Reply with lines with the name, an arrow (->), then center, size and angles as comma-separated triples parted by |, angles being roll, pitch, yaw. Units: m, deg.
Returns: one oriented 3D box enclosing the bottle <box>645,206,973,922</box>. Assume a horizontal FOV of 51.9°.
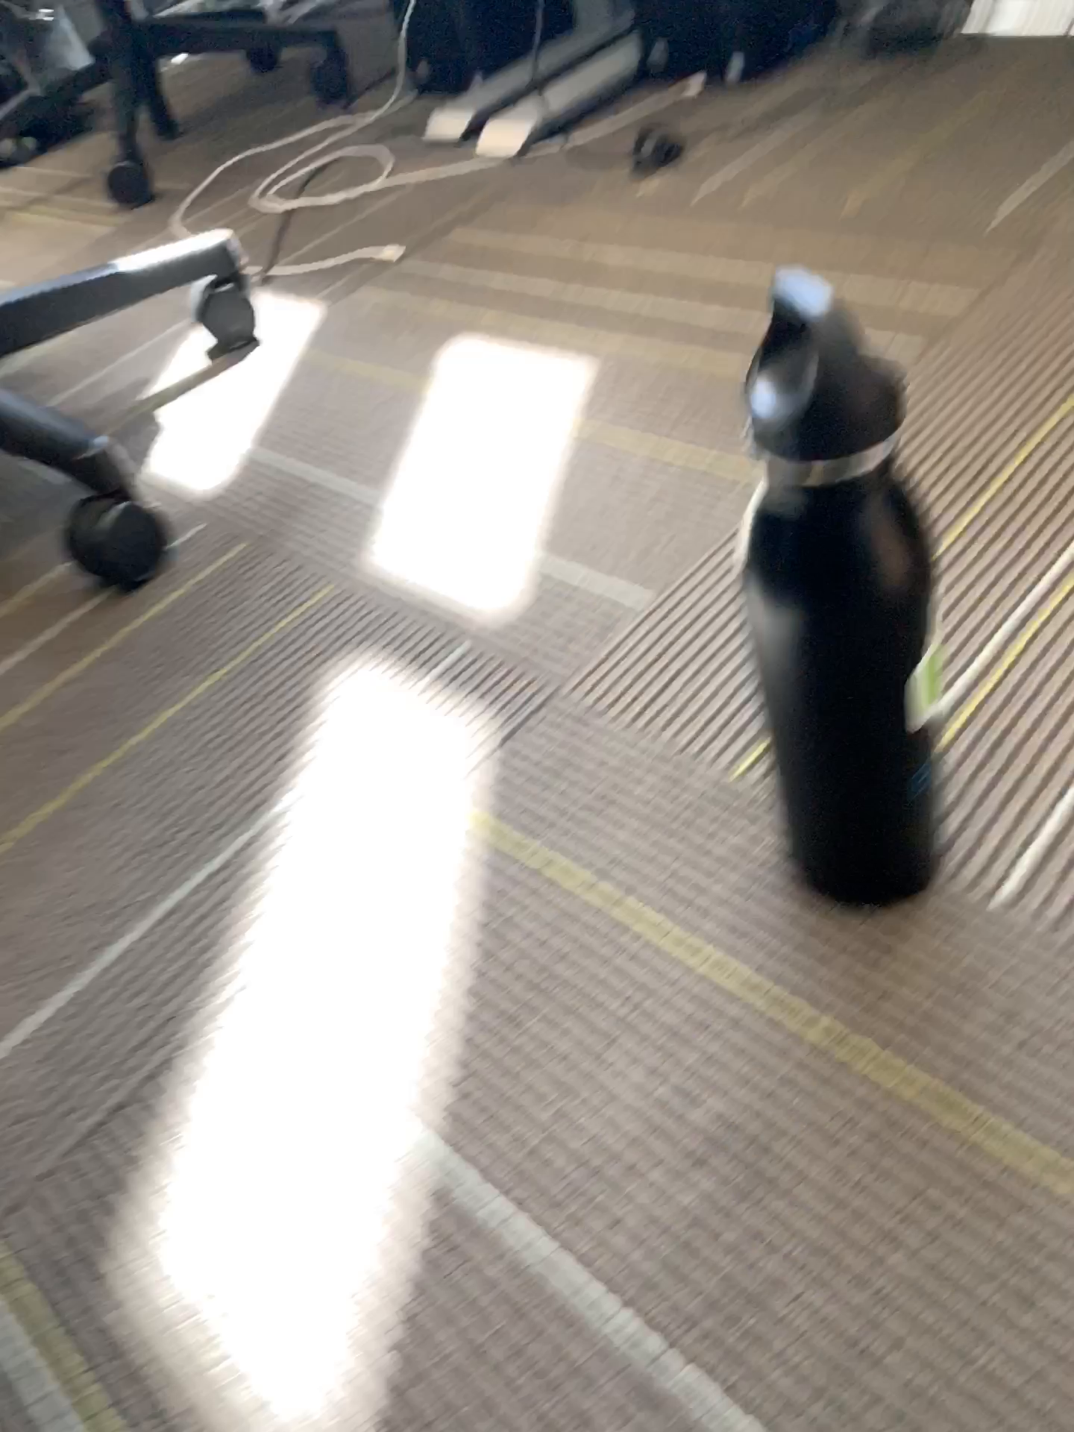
bottle -> 0.106, -0.038, 0.411 | 0.080, 0.248, 0.091 | -11, 43, 10
